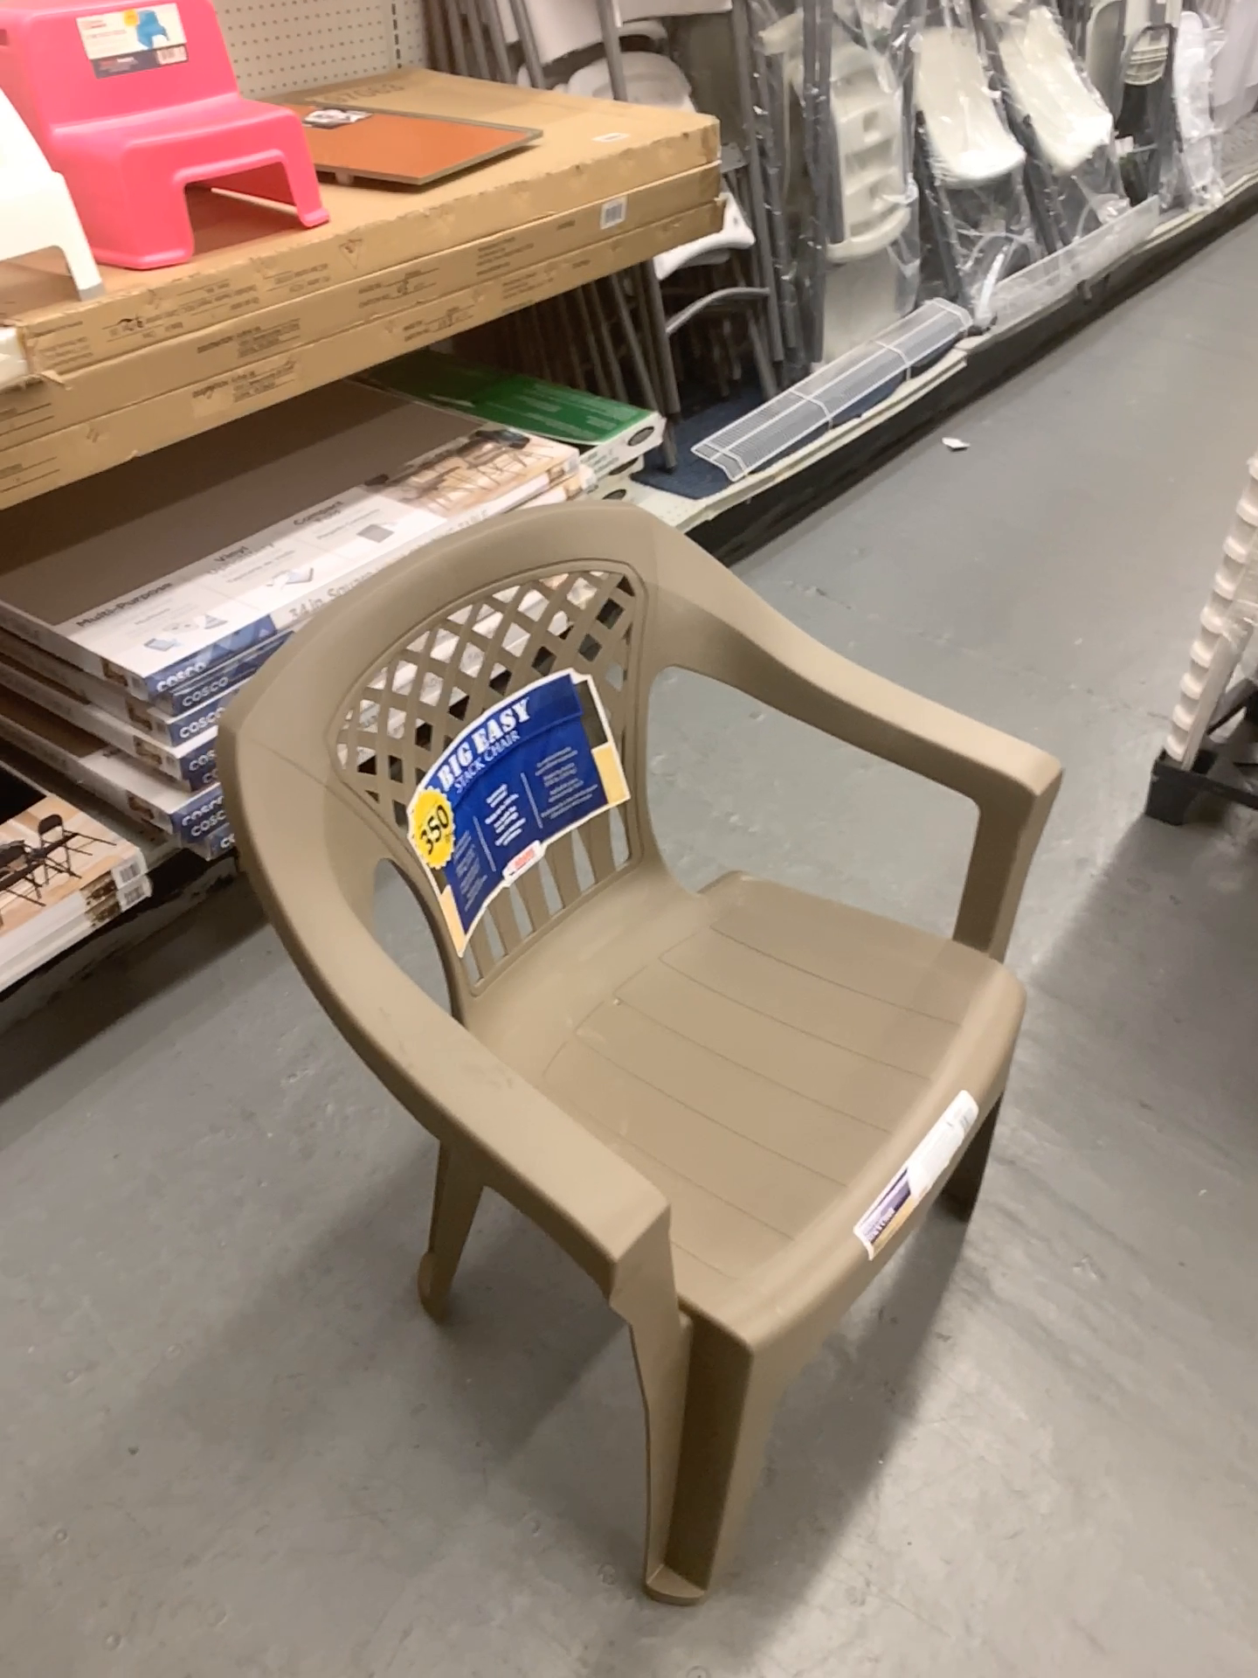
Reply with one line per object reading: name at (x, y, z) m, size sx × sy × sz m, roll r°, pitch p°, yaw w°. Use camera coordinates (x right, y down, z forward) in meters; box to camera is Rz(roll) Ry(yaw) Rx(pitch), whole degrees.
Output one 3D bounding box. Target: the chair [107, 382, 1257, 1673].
chair at (0.083, 0.143, 1.314) m, size 0.588 × 0.878 × 0.769 m, roll 27°, pitch 47°, yaw 30°
